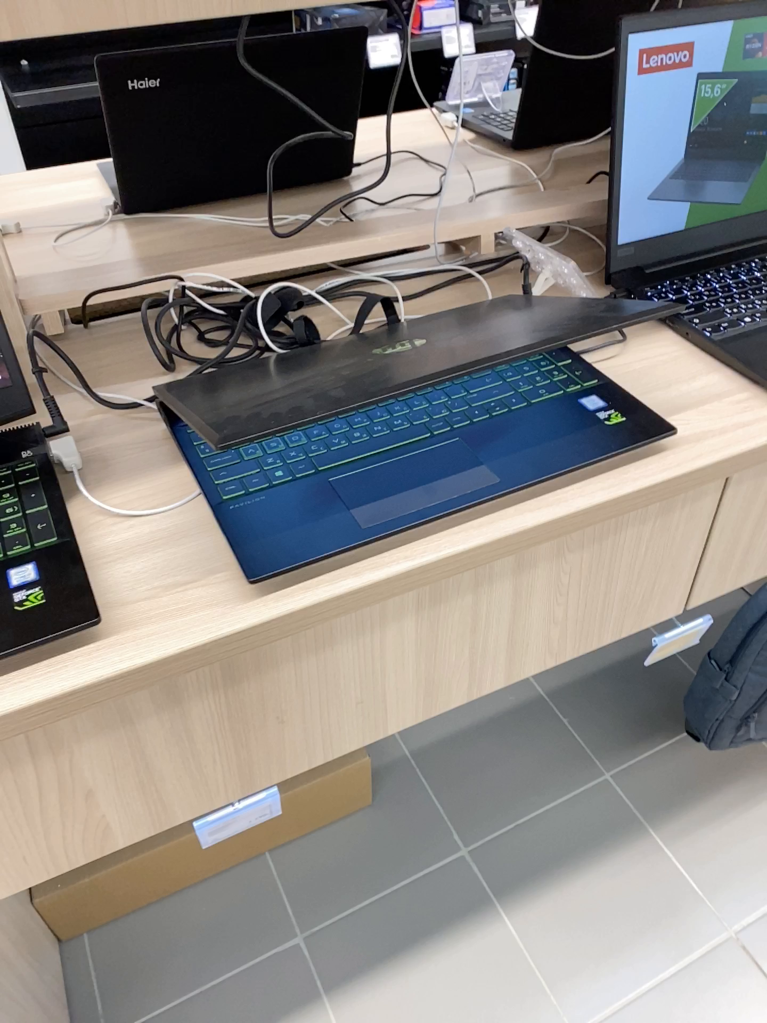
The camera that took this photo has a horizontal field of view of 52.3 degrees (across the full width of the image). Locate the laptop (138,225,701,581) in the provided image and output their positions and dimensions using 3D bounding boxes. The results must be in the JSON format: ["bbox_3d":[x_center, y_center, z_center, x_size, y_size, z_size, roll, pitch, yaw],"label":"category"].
[{"bbox_3d":[0.022,-0.114,0.628,0.361,0.092,0.243,-18,44,-21],"label":"laptop"}]
